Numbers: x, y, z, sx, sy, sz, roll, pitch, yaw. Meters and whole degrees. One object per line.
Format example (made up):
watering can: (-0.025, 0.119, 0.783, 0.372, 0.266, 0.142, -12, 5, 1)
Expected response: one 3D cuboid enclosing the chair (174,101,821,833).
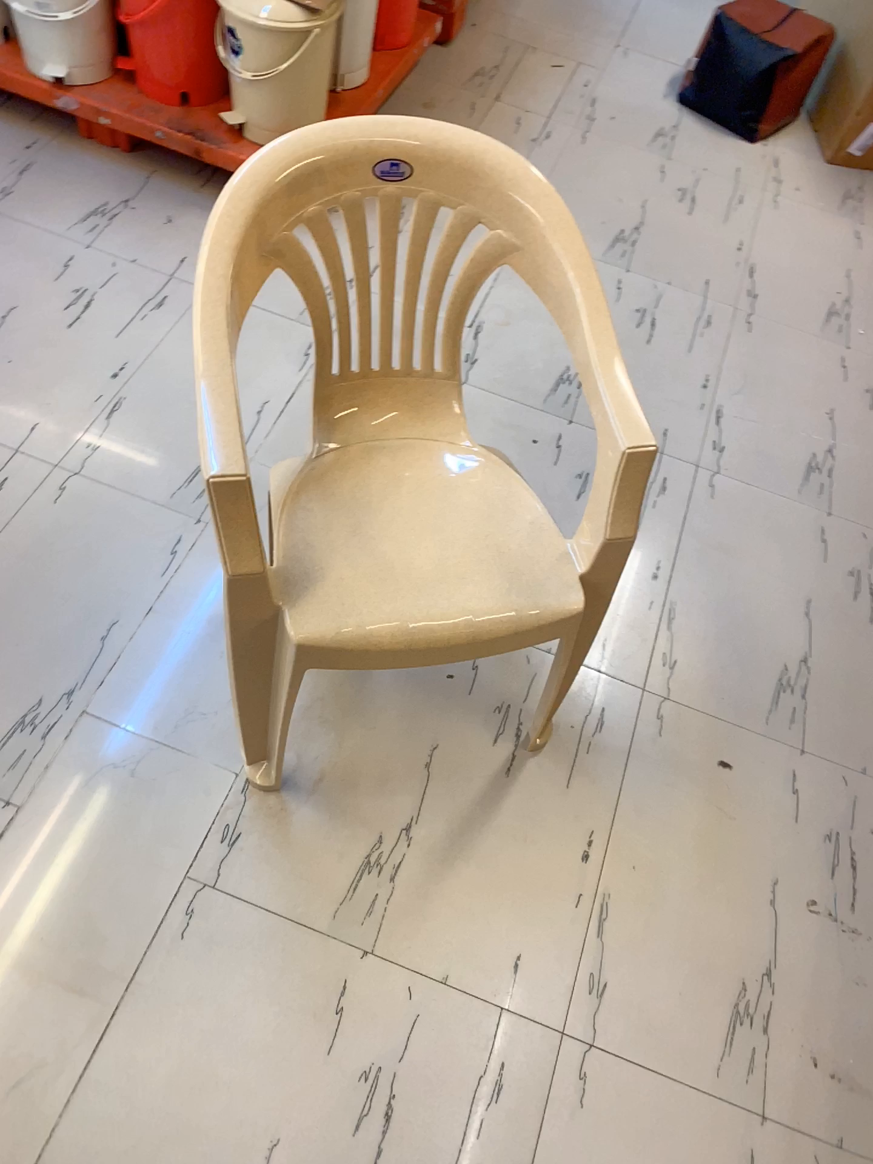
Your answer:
chair: (-0.029, -0.119, 1.246, 0.570, 0.745, 0.634, -4, 57, -13)
